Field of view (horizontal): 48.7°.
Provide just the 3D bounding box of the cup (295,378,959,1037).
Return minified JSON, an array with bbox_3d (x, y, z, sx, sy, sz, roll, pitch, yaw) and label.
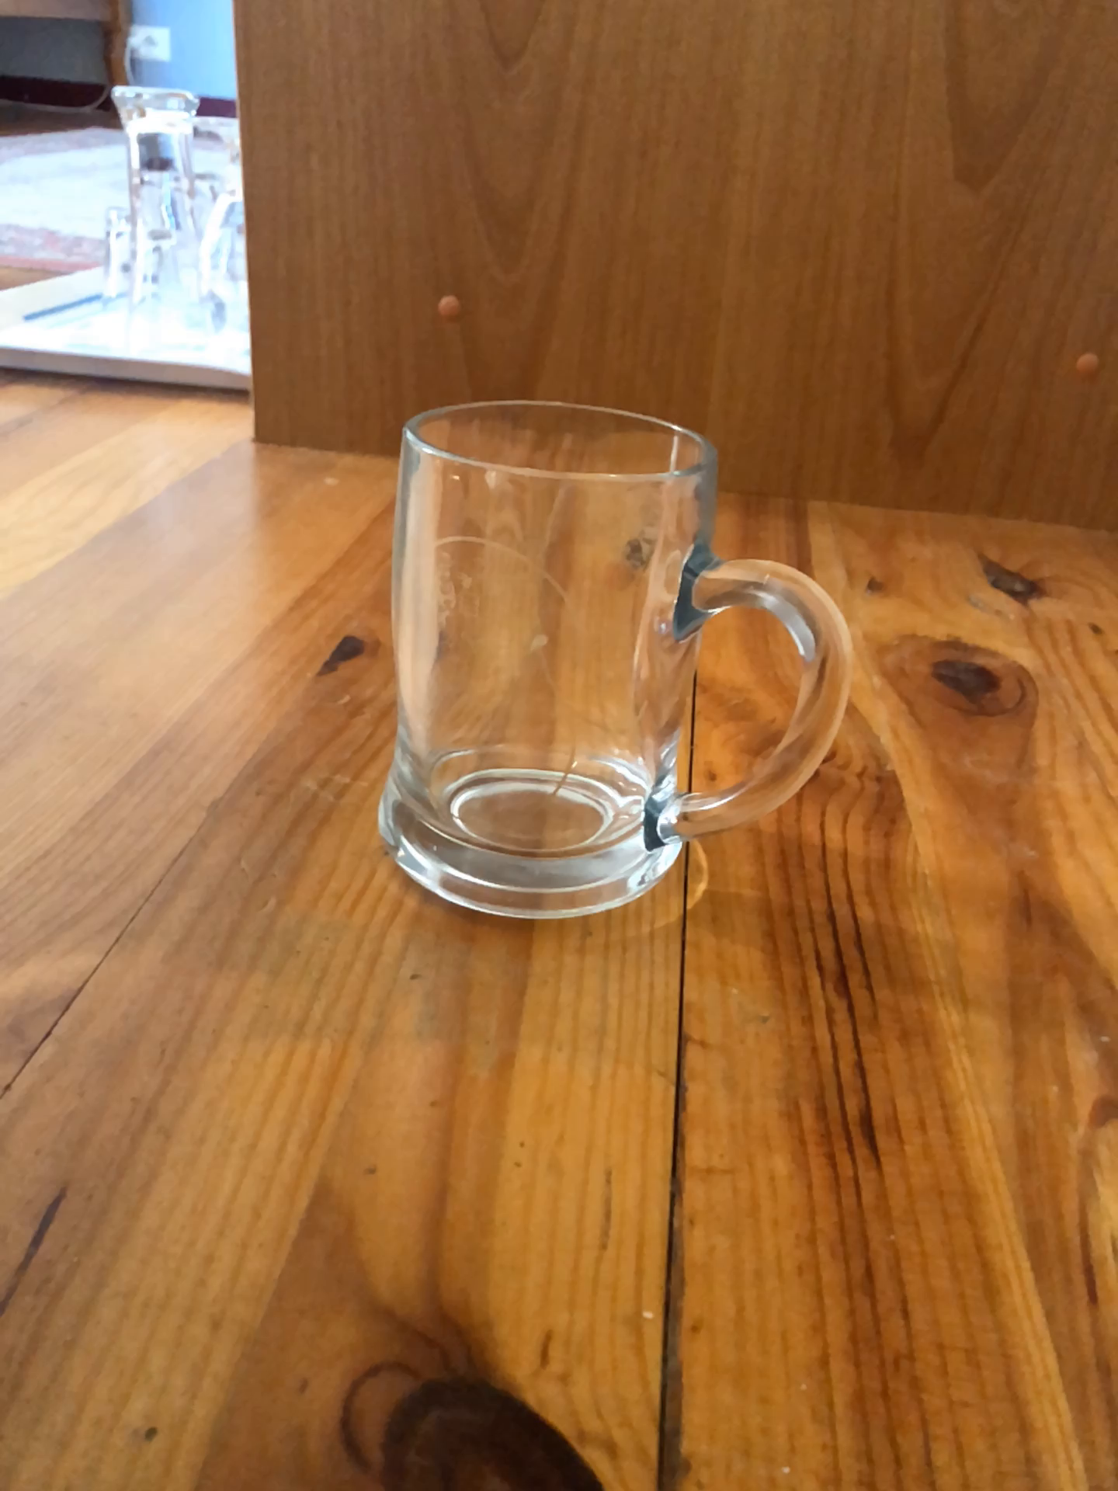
[{"bbox_3d":[0.013,-0.020,0.316,0.128,0.110,0.092,21,32,28],"label":"cup"}]
